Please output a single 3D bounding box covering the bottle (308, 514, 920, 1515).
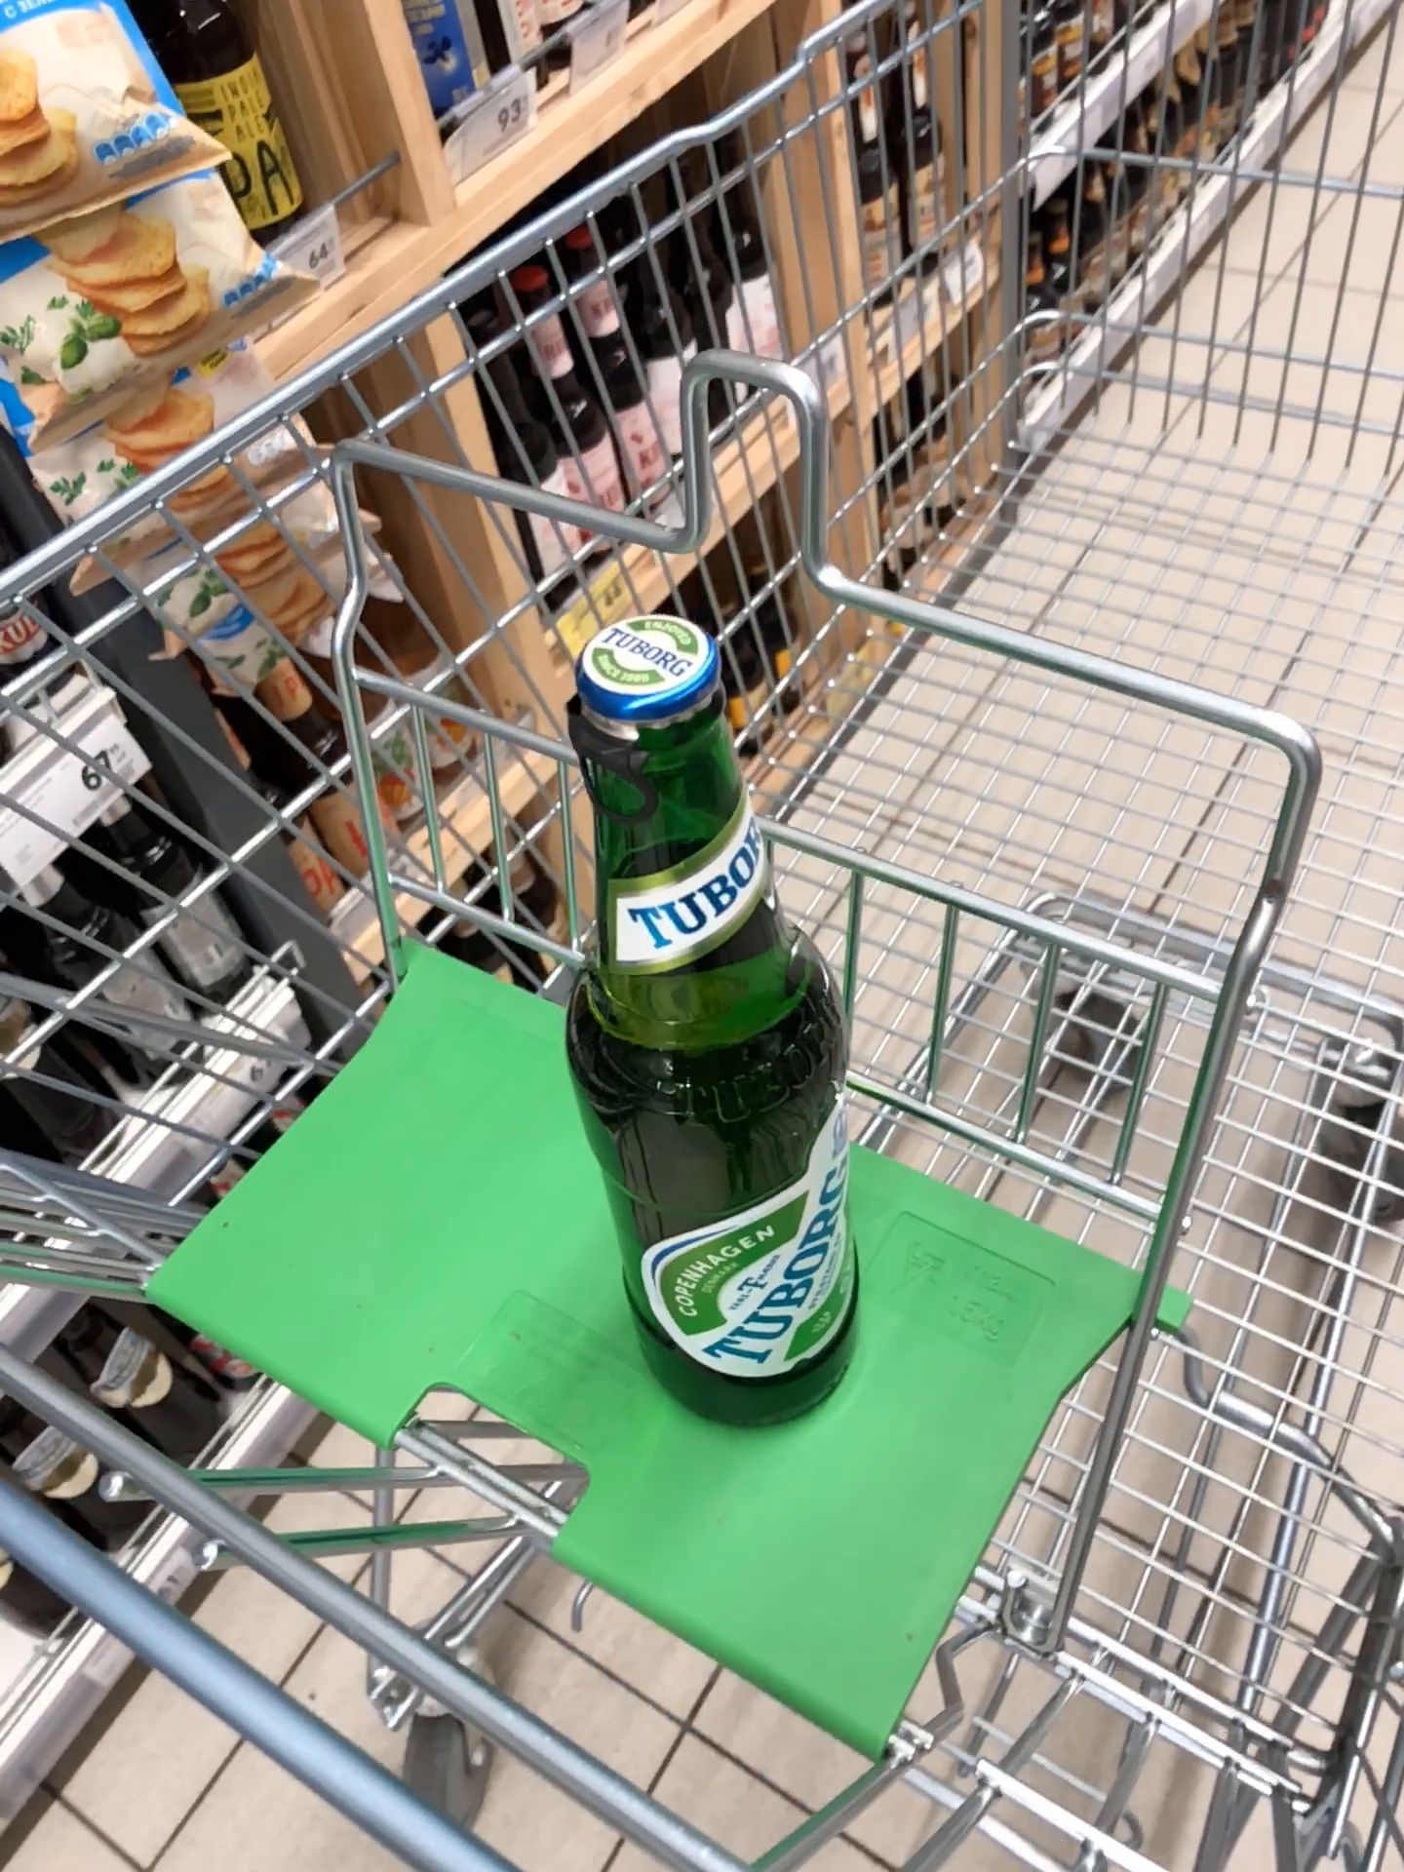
[{"bbox_3d":[-0.003,0.041,0.367,0.080,0.259,0.070,-30,53,-16],"label":"bottle"}]
